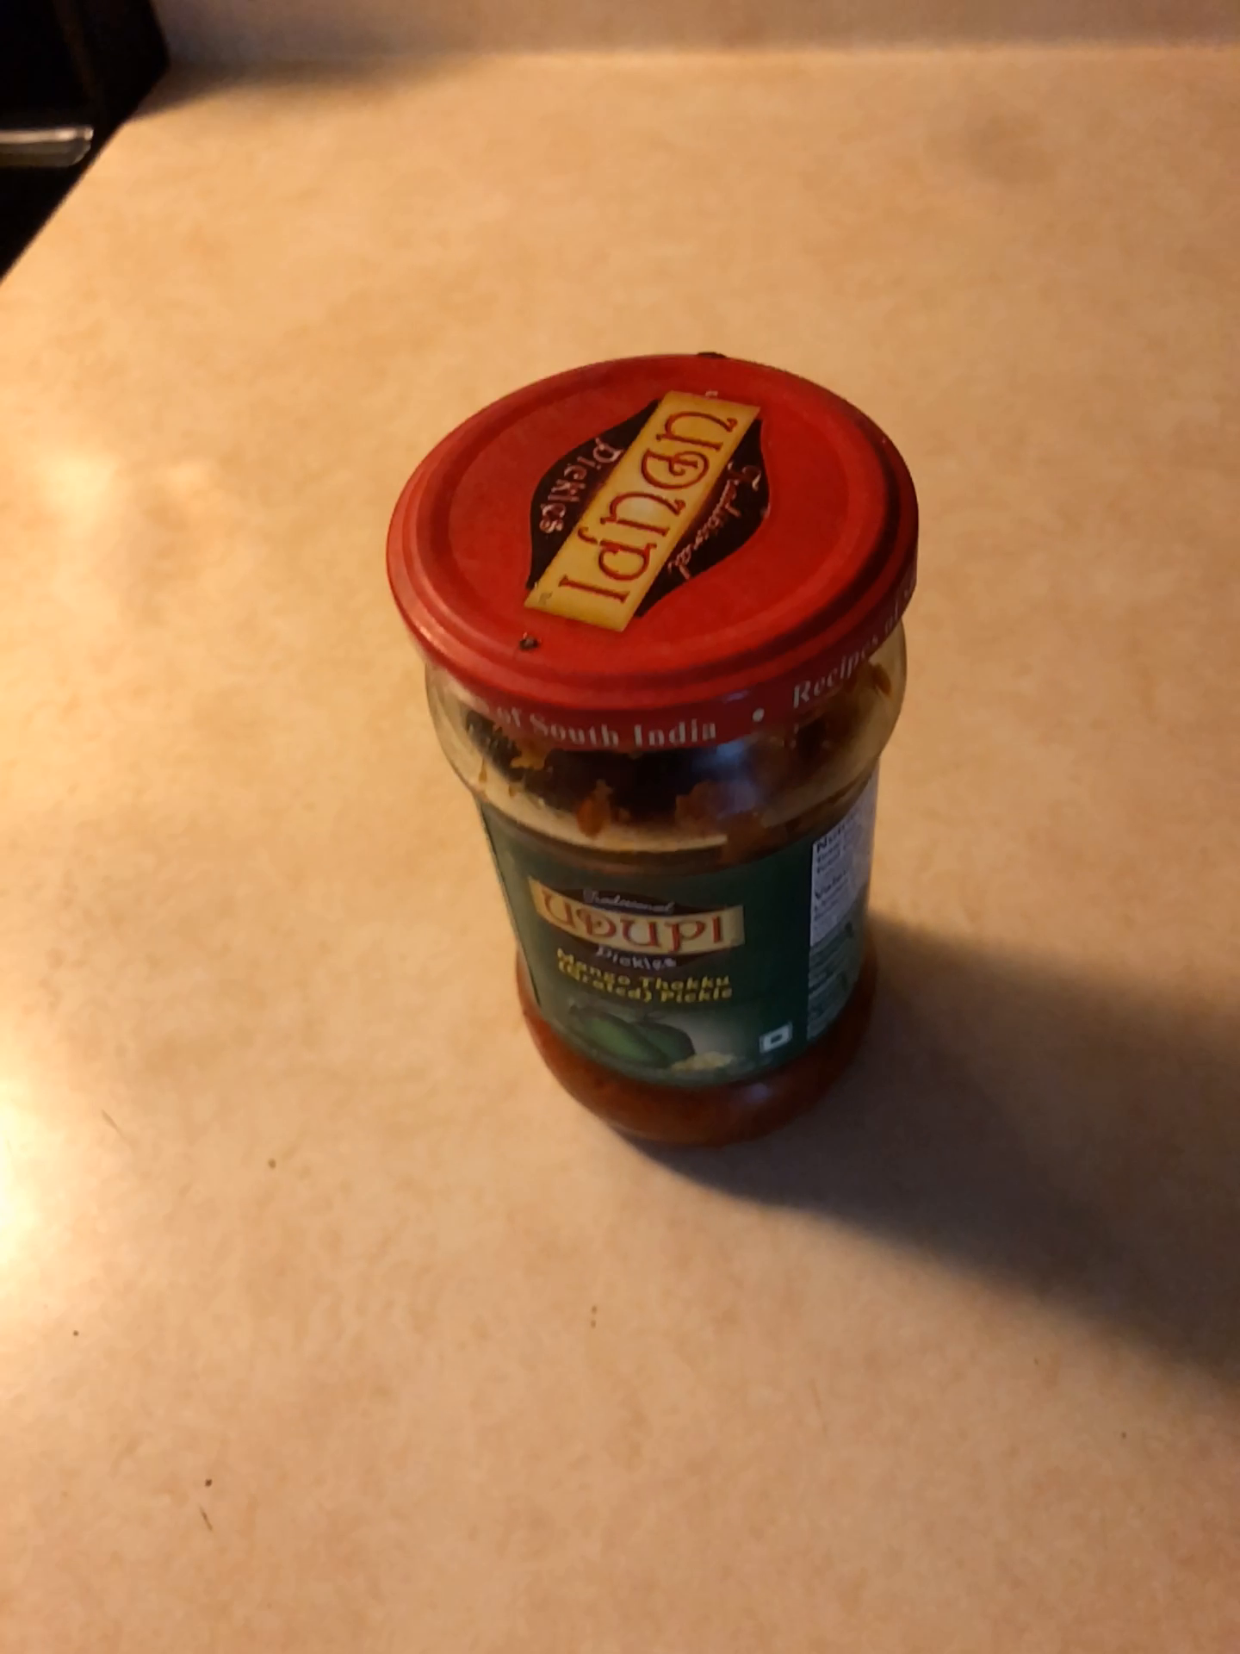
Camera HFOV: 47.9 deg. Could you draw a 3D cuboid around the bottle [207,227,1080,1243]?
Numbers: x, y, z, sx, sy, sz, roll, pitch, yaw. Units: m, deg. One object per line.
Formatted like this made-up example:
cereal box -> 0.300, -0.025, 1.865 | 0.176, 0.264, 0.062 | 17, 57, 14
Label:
bottle -> 0.011, -0.010, 0.215 | 0.080, 0.120, 0.080 | -3, 52, 4
